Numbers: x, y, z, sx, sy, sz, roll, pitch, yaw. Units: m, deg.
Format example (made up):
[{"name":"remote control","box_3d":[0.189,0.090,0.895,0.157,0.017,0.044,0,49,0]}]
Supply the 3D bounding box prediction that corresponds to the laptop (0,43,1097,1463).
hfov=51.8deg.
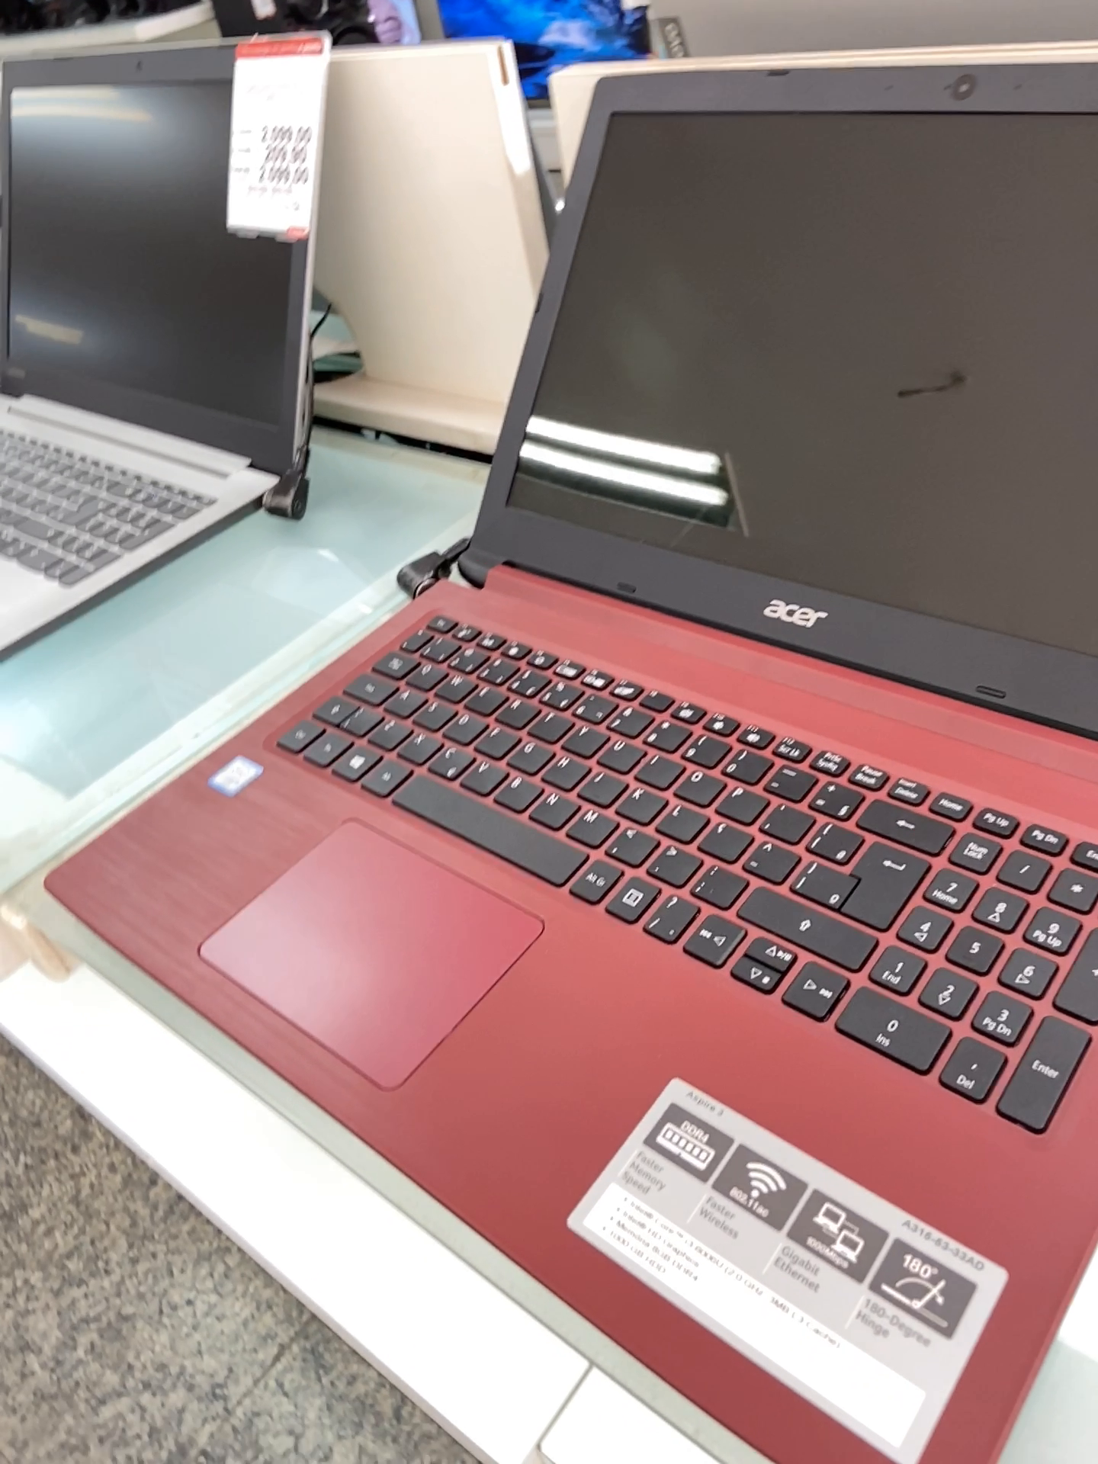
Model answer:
[{"name":"laptop","box_3d":[0.055,-0.075,0.411,0.392,0.193,0.430,22,50,36]}]
